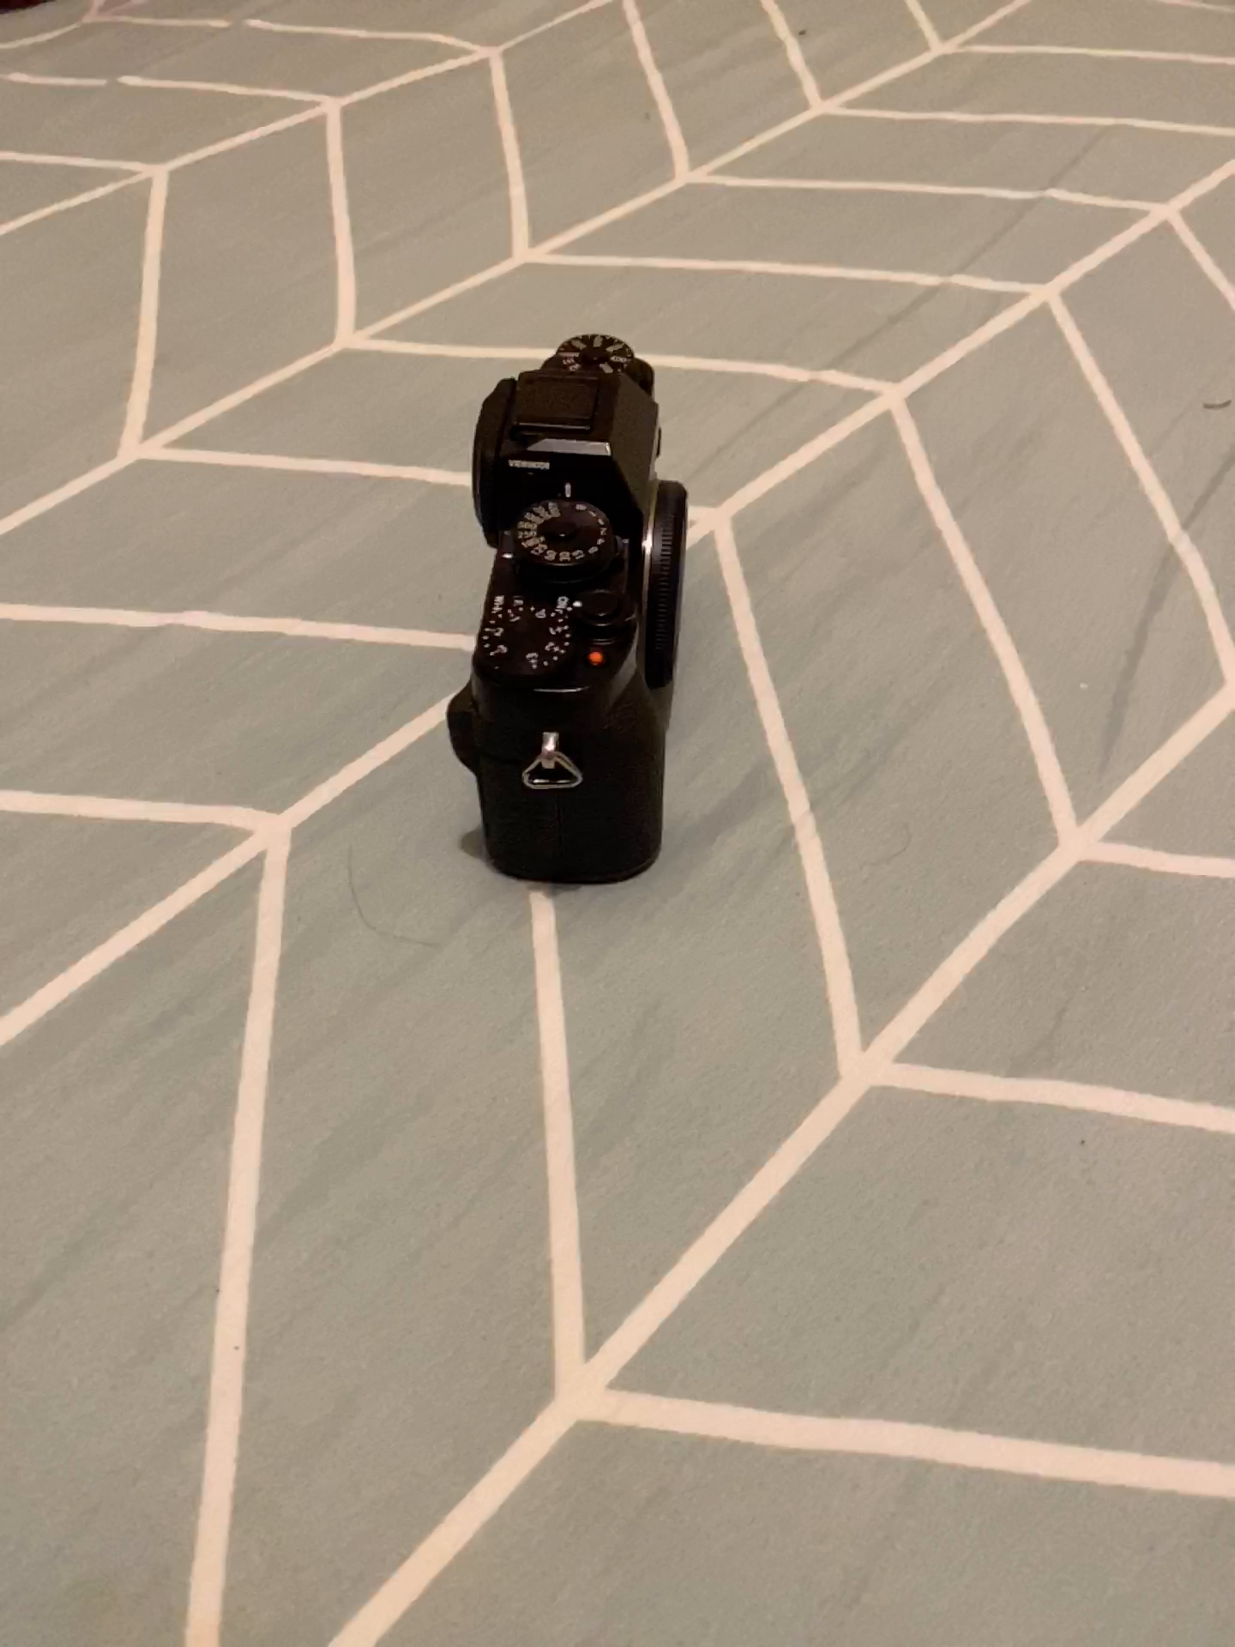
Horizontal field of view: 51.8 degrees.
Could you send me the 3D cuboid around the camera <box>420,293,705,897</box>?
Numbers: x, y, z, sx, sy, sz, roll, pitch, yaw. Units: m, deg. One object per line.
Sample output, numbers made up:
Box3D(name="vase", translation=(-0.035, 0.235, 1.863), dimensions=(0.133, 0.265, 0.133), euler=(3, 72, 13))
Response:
Box3D(name="camera", translation=(-0.009, -0.061, 0.332), dimensions=(0.051, 0.087, 0.131), euler=(5, 53, 2))
